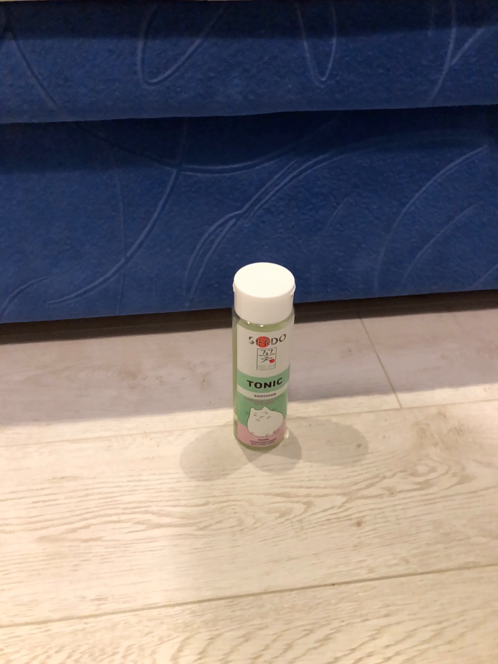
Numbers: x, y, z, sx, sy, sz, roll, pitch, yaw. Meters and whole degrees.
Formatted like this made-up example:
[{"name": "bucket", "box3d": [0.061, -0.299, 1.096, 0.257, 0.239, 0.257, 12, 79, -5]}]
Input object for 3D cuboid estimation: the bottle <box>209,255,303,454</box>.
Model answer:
[{"name": "bottle", "box3d": [0.003, 0.023, 0.444, 0.057, 0.160, 0.053, 0, 39, 0]}]
